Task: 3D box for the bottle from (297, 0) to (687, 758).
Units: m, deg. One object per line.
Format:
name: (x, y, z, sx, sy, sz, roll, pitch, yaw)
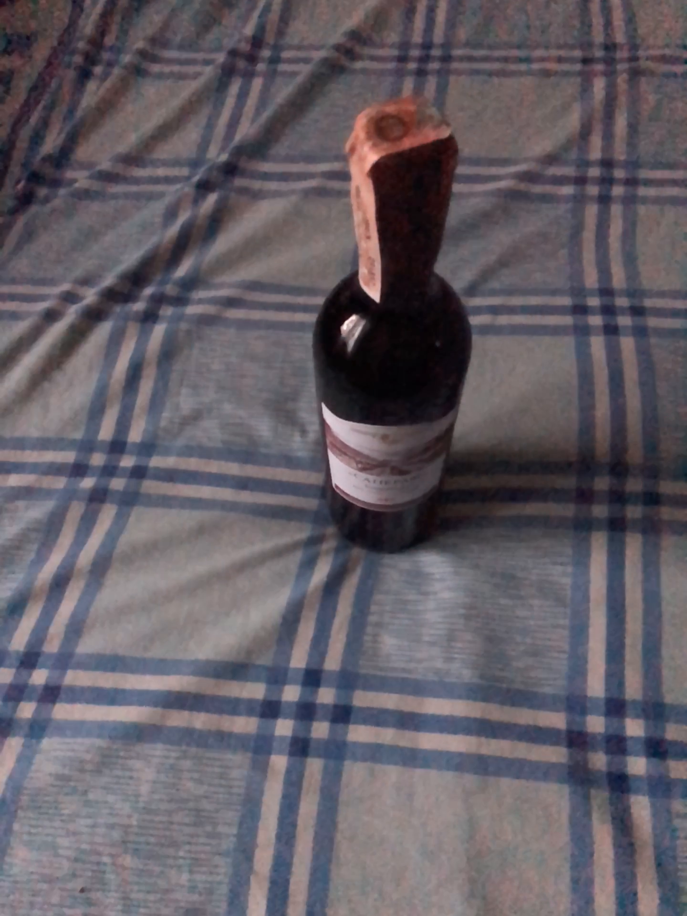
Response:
bottle: (0.056, 0.018, 0.247, 0.081, 0.305, 0.071, 27, 65, 19)
